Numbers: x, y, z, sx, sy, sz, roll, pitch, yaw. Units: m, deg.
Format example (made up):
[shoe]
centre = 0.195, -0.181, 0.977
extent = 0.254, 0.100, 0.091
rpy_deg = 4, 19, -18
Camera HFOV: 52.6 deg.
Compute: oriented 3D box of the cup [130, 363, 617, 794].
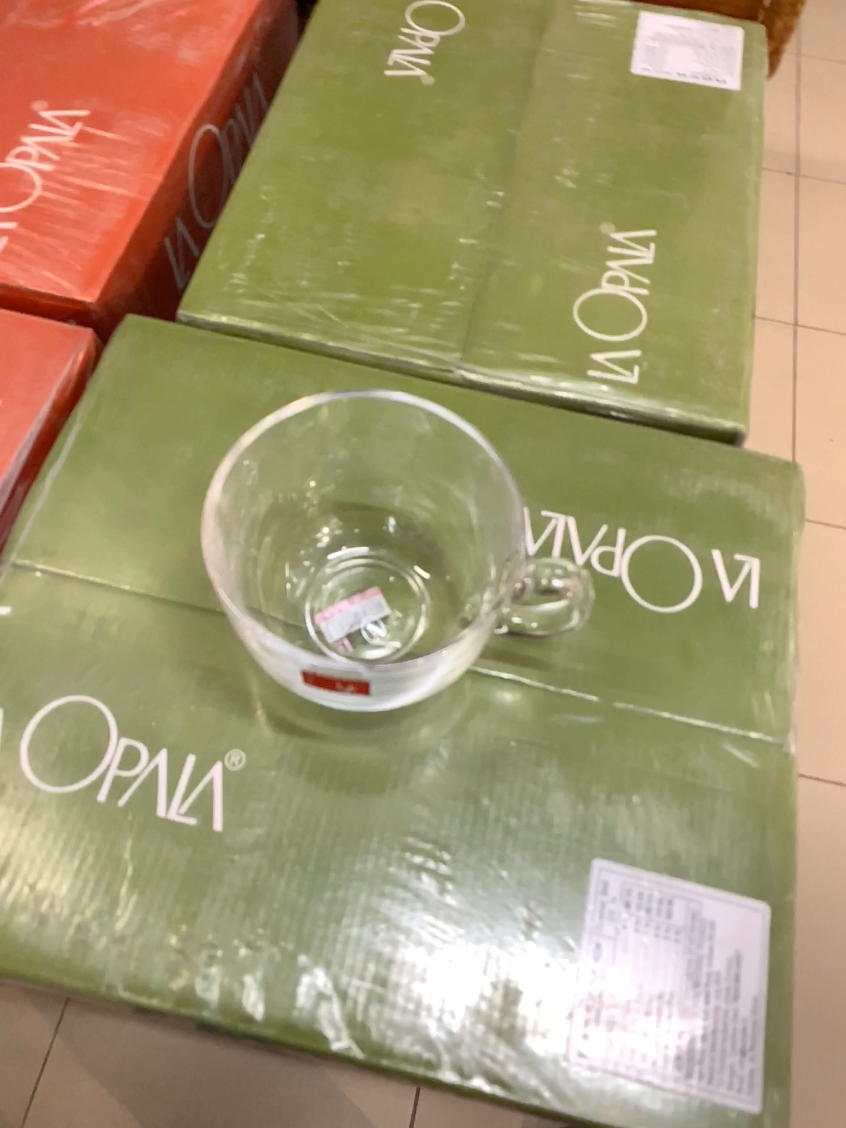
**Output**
[cup]
centre = -0.011, 0.008, 0.316
extent = 0.140, 0.090, 0.110
rpy_deg = 9, 62, 2
